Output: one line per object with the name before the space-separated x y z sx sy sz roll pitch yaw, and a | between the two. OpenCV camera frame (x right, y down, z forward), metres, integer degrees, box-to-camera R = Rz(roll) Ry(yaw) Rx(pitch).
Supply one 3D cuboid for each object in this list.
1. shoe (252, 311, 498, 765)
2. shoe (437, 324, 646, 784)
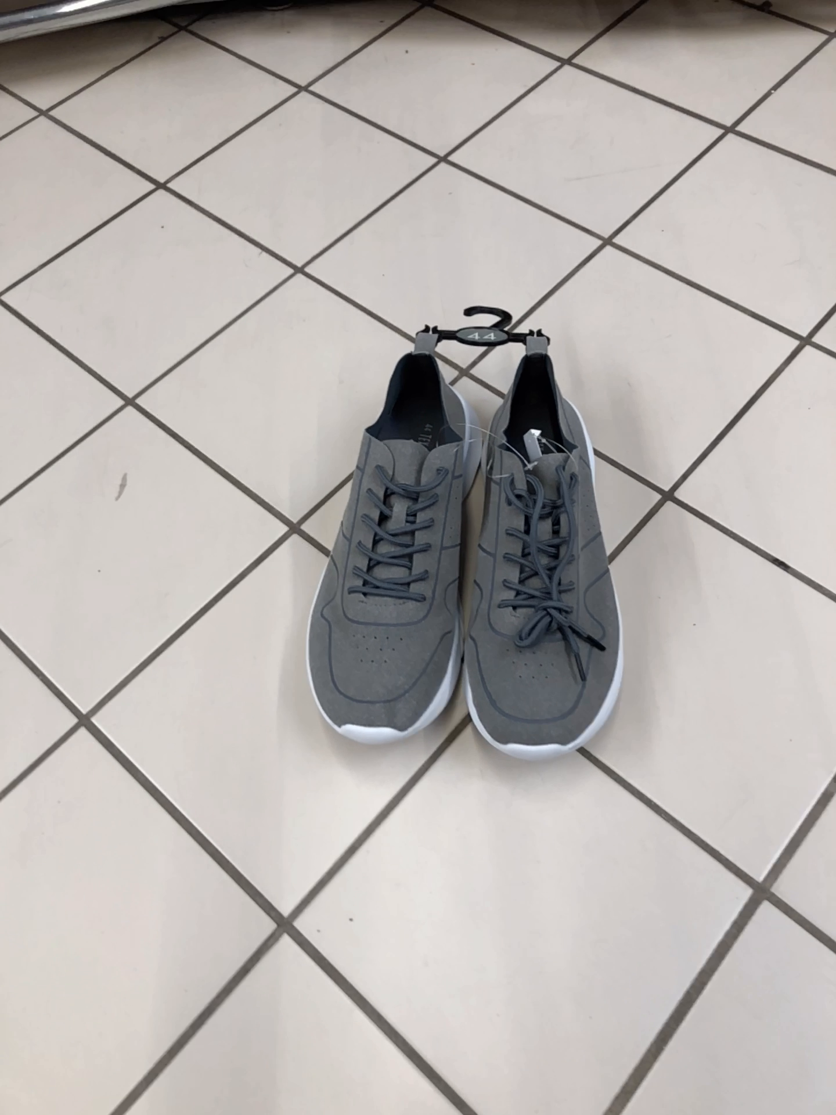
shoe | -0.014 -0.023 0.619 0.110 0.100 0.291 5 59 8
shoe | 0.080 -0.012 0.604 0.110 0.100 0.291 2 59 6
